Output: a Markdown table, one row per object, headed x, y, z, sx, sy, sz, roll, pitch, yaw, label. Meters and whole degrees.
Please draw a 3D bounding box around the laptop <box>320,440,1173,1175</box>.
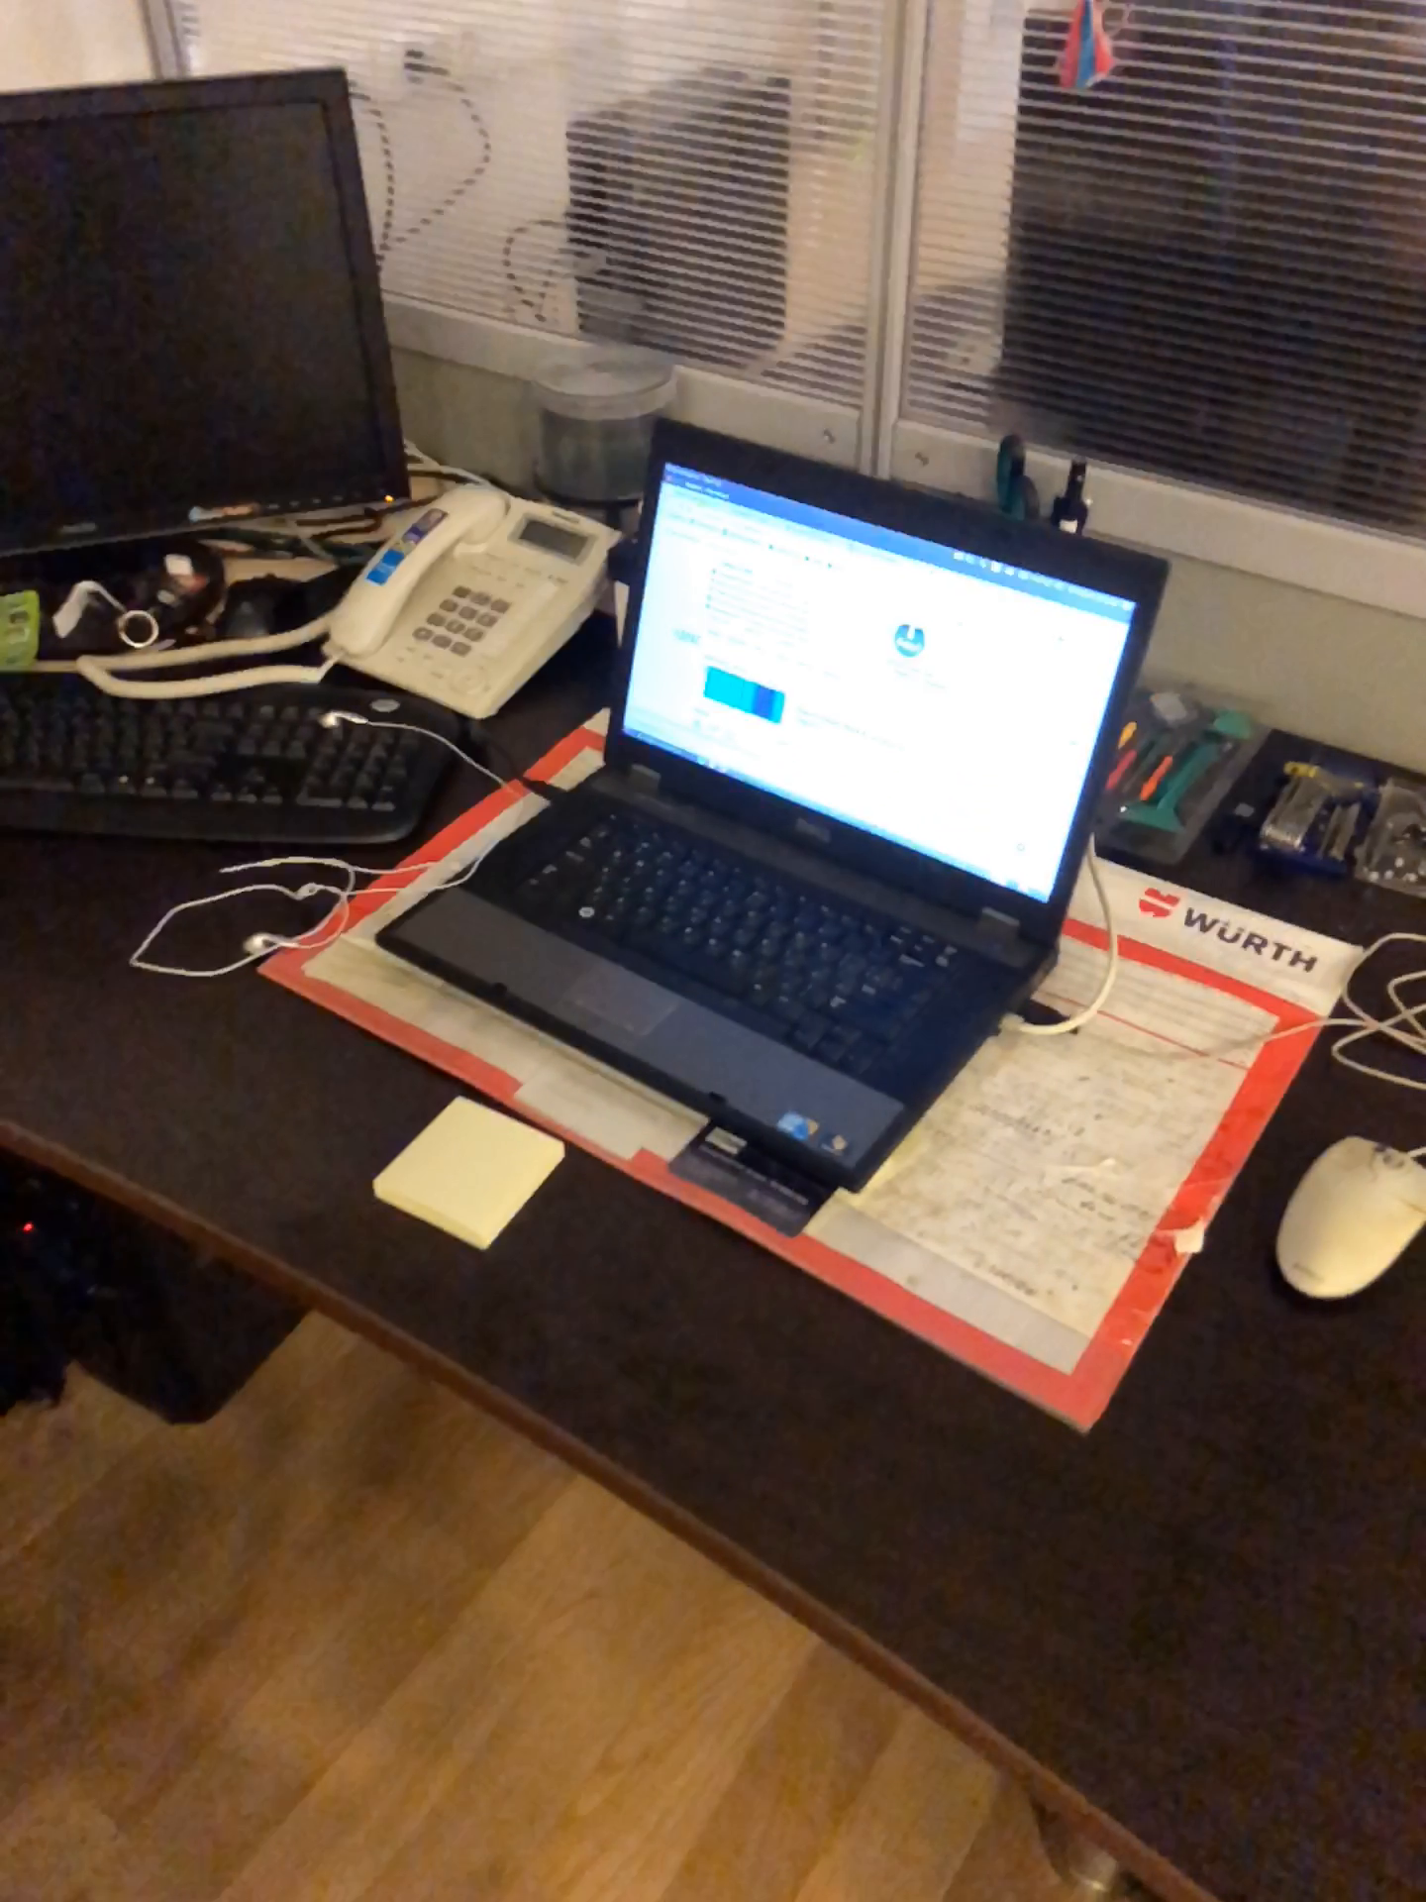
| x | y | z | sx | sy | sz | roll | pitch | yaw | label |
| --- | --- | --- | --- | --- | --- | --- | --- | --- | --- |
| 0.020 | -0.095 | 0.823 | 0.317 | 0.209 | 0.257 | 24 | 46 | 27 | laptop |
